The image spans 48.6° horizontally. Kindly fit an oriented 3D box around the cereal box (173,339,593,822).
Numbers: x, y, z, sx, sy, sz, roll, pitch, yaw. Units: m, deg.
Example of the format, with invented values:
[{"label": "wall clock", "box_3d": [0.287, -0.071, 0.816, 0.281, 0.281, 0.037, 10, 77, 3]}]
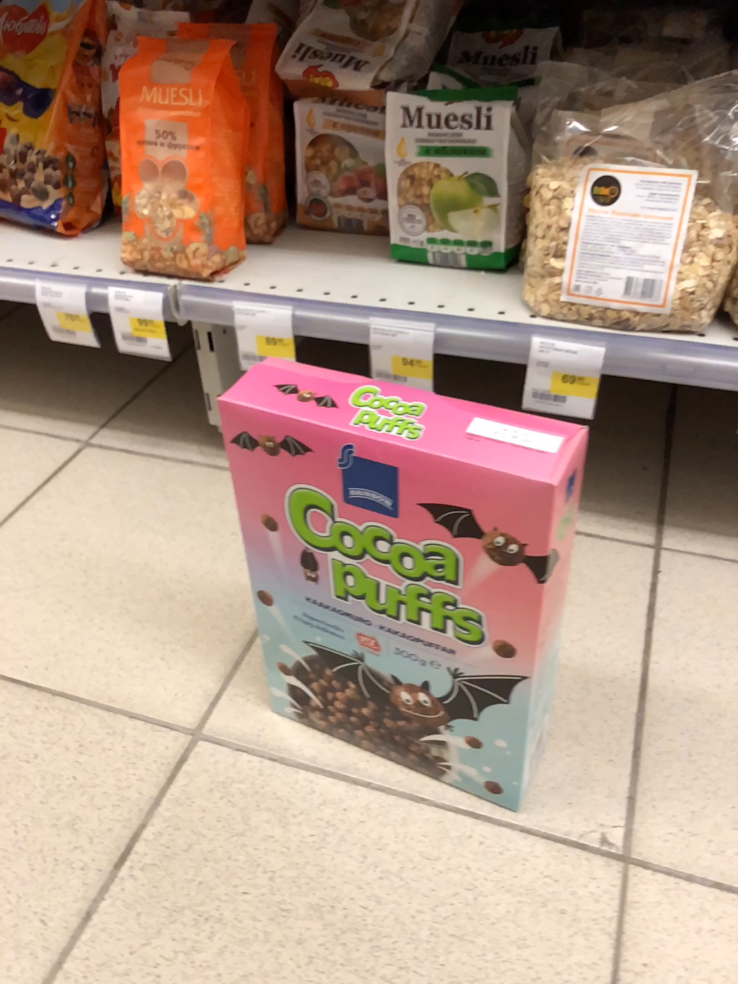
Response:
[{"label": "cereal box", "box_3d": [0.008, 0.060, 0.499, 0.210, 0.268, 0.060, 16, 41, 23]}]
